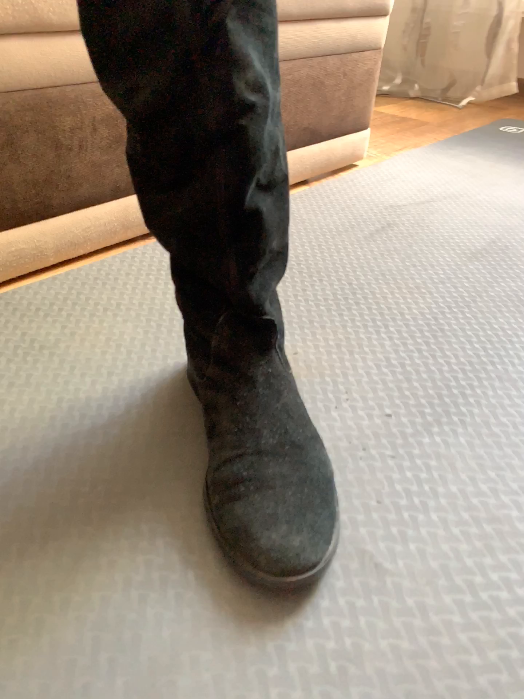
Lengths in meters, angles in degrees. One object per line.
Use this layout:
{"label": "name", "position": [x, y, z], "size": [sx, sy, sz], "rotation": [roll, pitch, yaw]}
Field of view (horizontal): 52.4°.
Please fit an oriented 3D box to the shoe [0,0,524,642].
{"label": "shoe", "position": [-0.046, -0.107, 0.311], "size": [0.130, 0.378, 0.322], "rotation": [-10, 33, -13]}
